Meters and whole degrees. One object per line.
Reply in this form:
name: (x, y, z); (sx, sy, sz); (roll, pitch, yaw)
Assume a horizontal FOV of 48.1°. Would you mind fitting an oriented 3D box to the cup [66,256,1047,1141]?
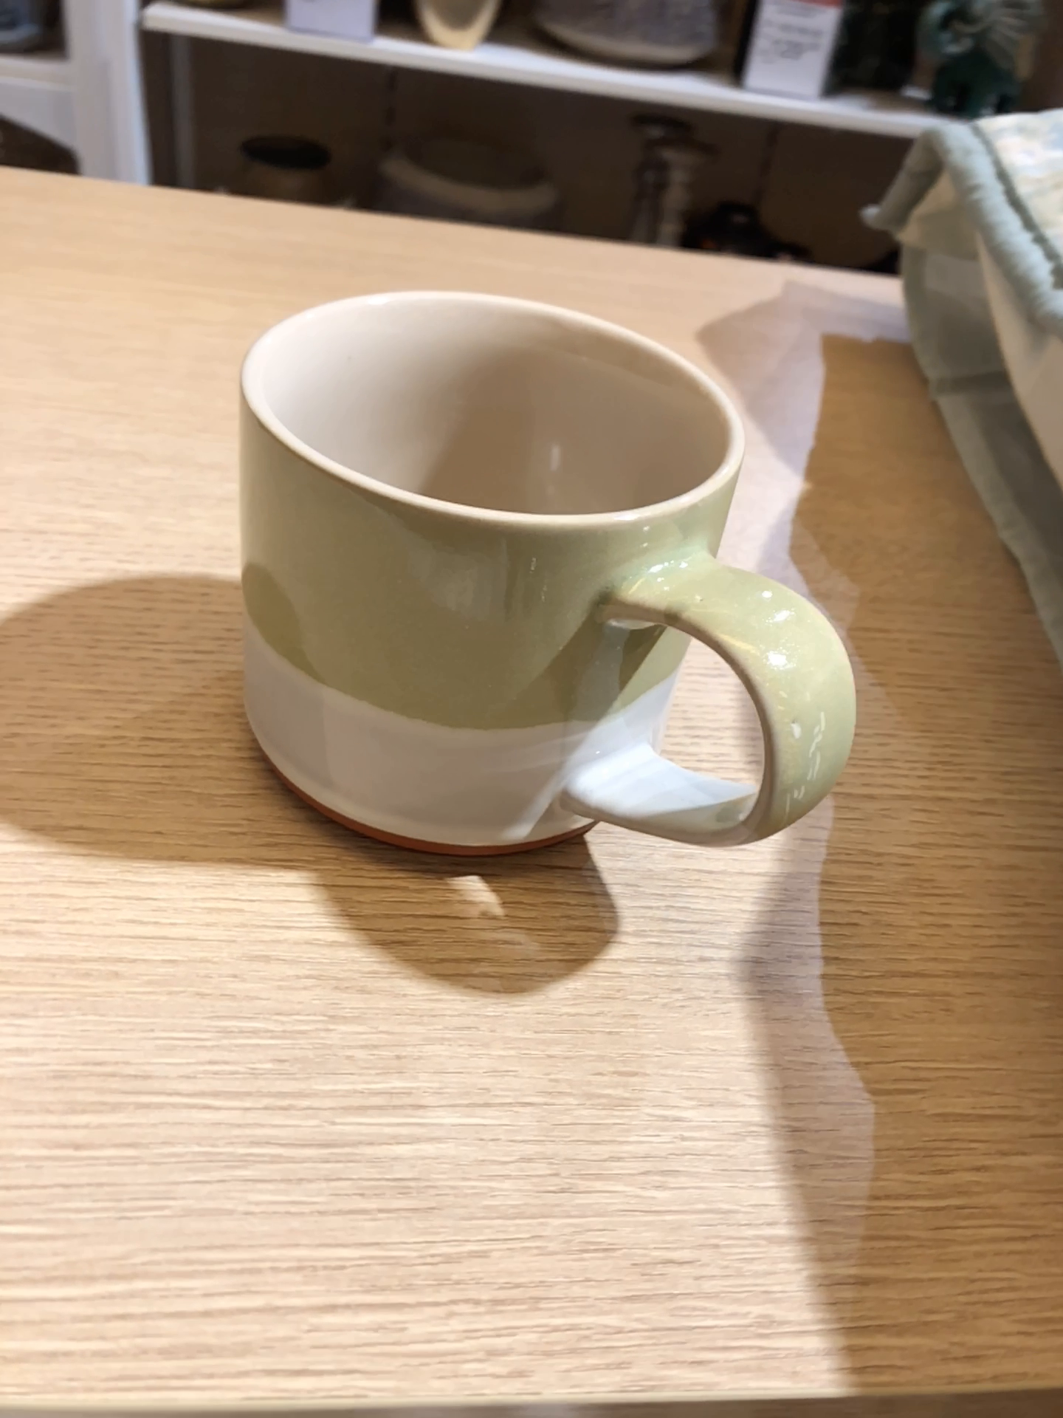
cup: (-0.001, -0.017, 0.230); (0.140, 0.079, 0.101); (34, 44, 27)
